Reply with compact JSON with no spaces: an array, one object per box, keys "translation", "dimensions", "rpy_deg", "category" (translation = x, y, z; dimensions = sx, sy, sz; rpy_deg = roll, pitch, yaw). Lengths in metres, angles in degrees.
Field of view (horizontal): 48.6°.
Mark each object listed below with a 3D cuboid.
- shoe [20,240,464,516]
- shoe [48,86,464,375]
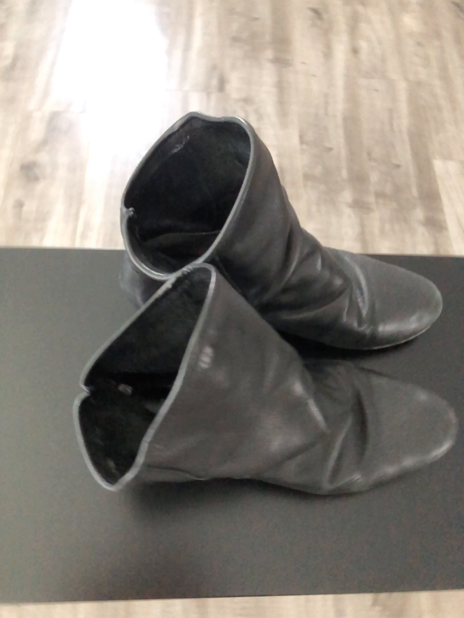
[{"translation":[0.040,0.053,0.291],"dimensions":[0.250,0.170,0.101],"rpy_deg":[0,64,-6],"category":"shoe"},{"translation":[0.039,-0.034,0.335],"dimensions":[0.260,0.170,0.101],"rpy_deg":[0,64,-6],"category":"shoe"}]
